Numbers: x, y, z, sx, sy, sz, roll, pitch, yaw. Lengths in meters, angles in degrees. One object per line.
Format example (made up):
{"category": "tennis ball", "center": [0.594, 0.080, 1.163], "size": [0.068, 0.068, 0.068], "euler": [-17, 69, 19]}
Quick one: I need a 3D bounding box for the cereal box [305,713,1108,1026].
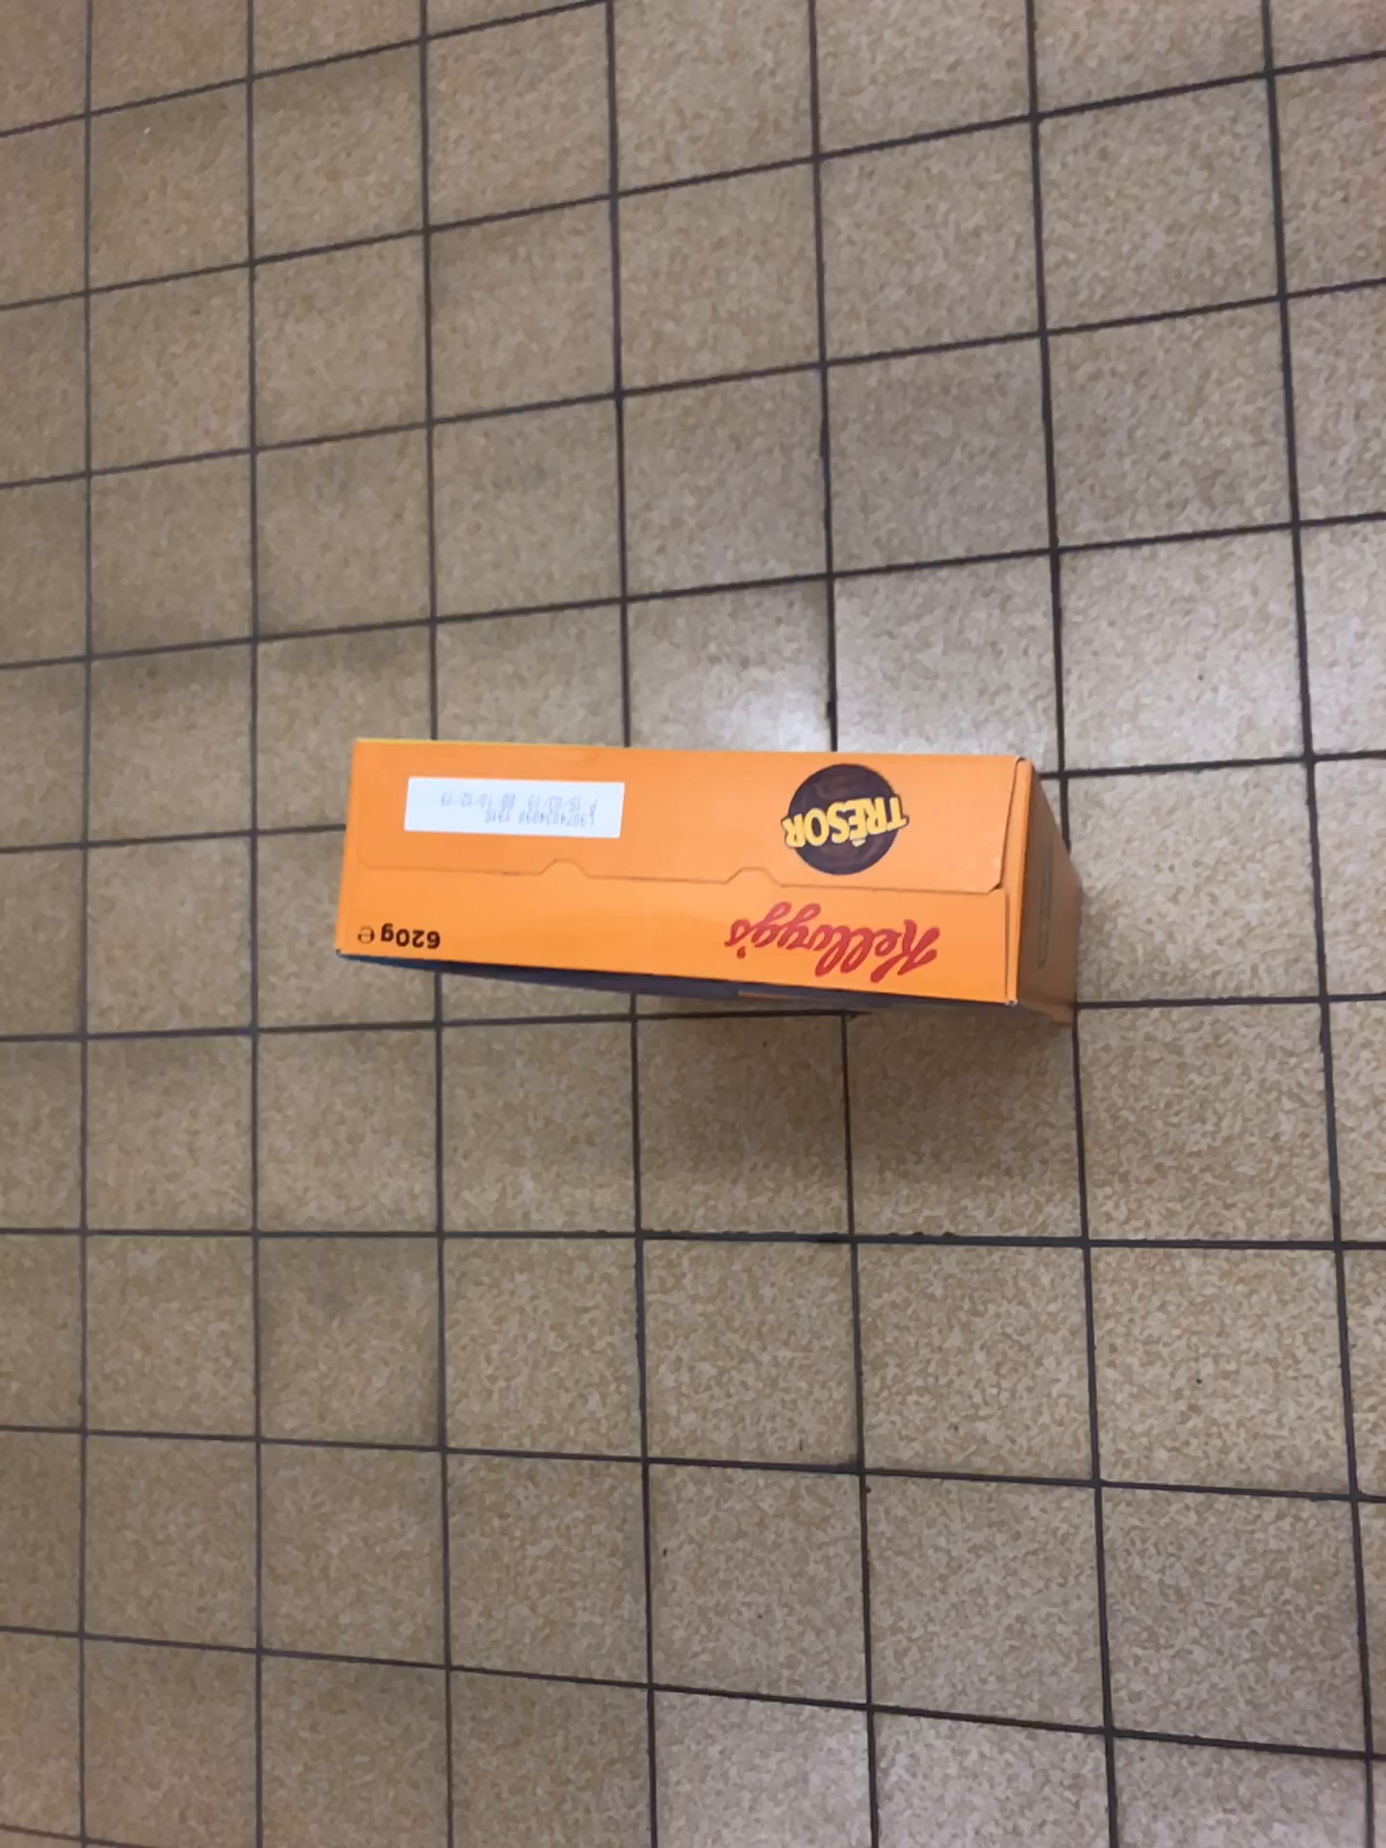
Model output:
{"category": "cereal box", "center": [0.034, -0.008, 0.544], "size": [0.210, 0.290, 0.070], "euler": [4, 87, 16]}
